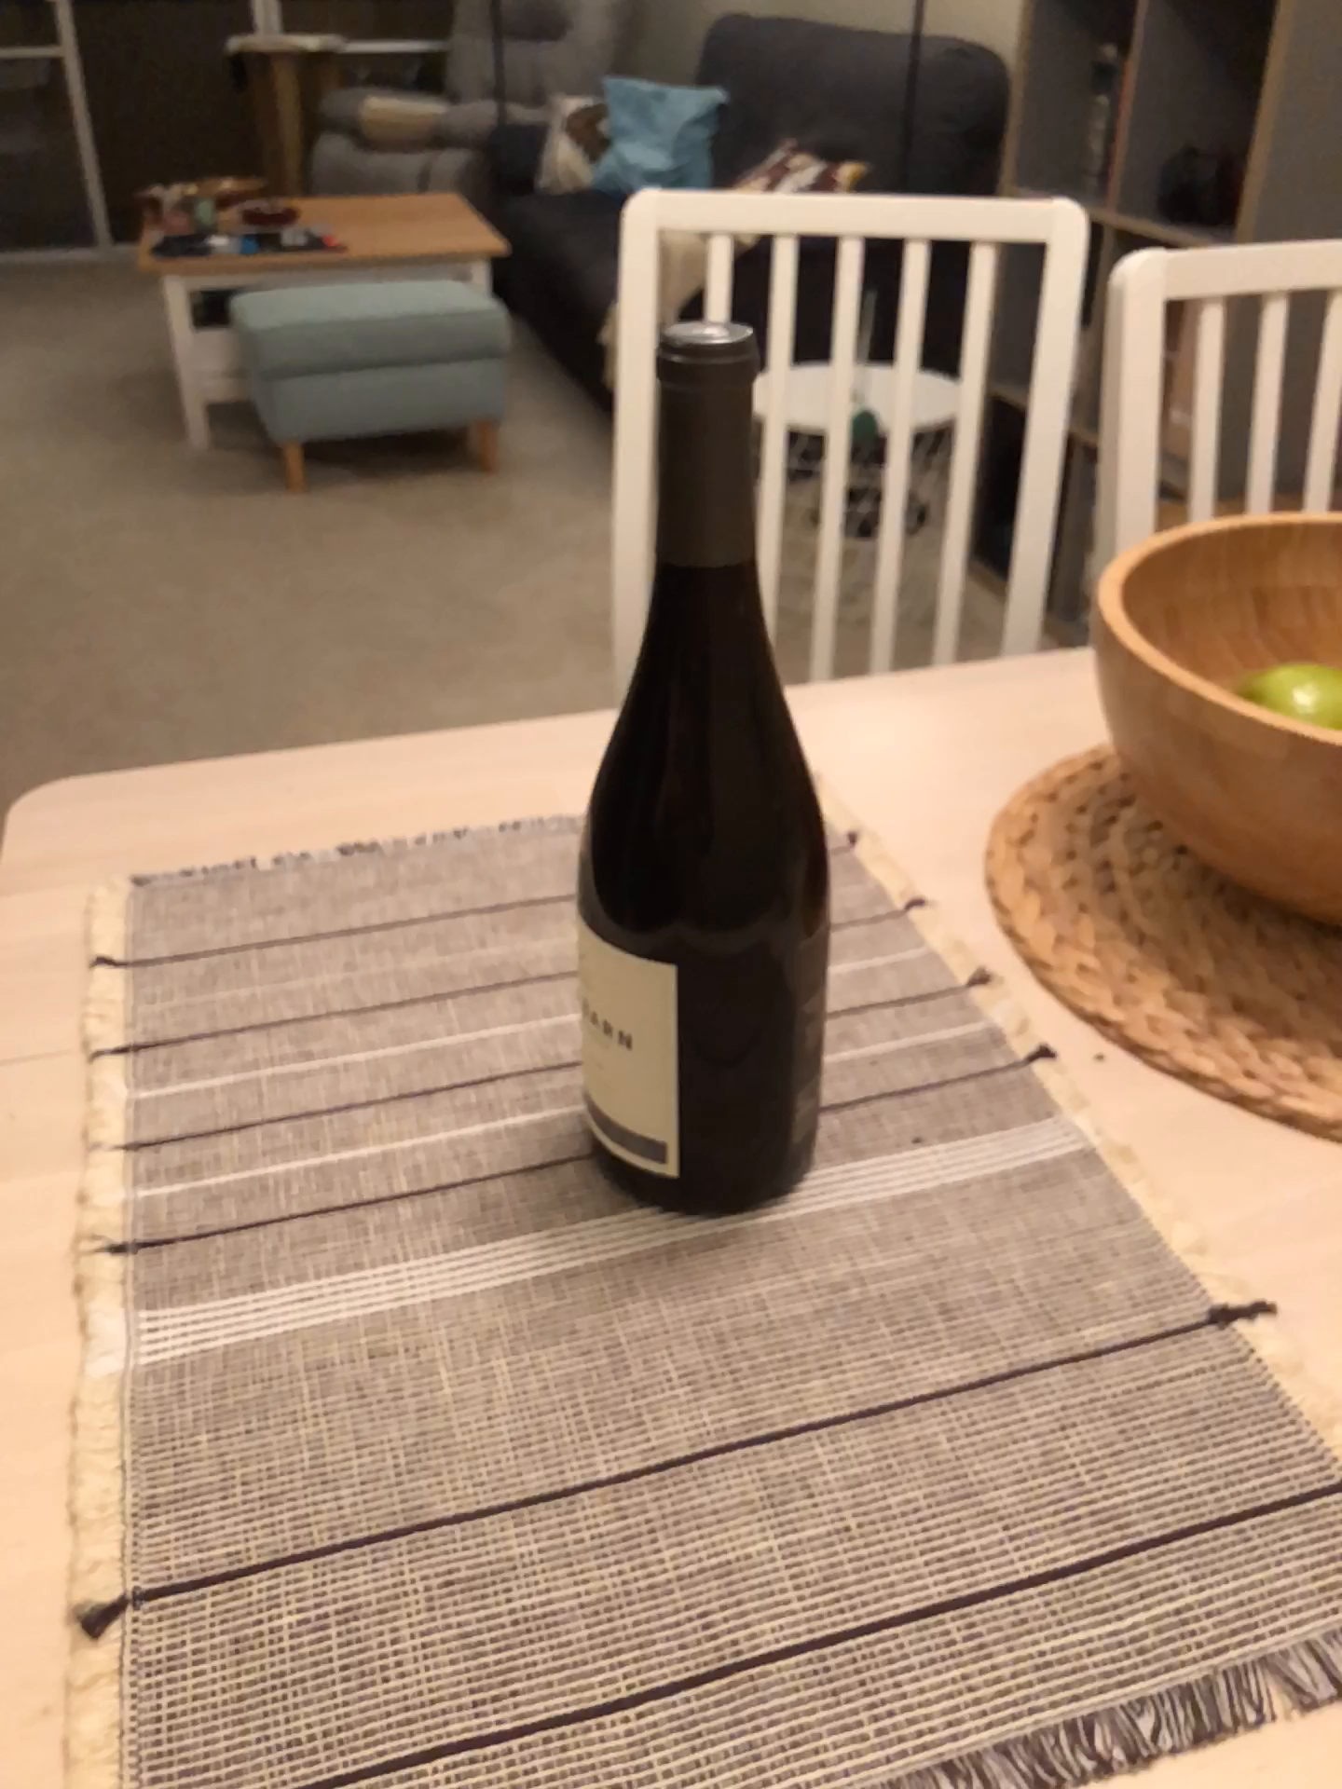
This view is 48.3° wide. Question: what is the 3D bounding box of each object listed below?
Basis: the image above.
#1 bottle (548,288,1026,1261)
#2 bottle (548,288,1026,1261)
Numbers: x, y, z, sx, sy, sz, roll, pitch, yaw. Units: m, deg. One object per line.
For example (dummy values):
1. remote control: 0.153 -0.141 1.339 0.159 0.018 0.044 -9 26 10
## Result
1. bottle: 0.028 -0.031 0.481 0.100 0.288 0.090 -12 34 -19
2. bottle: 0.028 -0.031 0.481 0.100 0.288 0.090 -12 34 -19
